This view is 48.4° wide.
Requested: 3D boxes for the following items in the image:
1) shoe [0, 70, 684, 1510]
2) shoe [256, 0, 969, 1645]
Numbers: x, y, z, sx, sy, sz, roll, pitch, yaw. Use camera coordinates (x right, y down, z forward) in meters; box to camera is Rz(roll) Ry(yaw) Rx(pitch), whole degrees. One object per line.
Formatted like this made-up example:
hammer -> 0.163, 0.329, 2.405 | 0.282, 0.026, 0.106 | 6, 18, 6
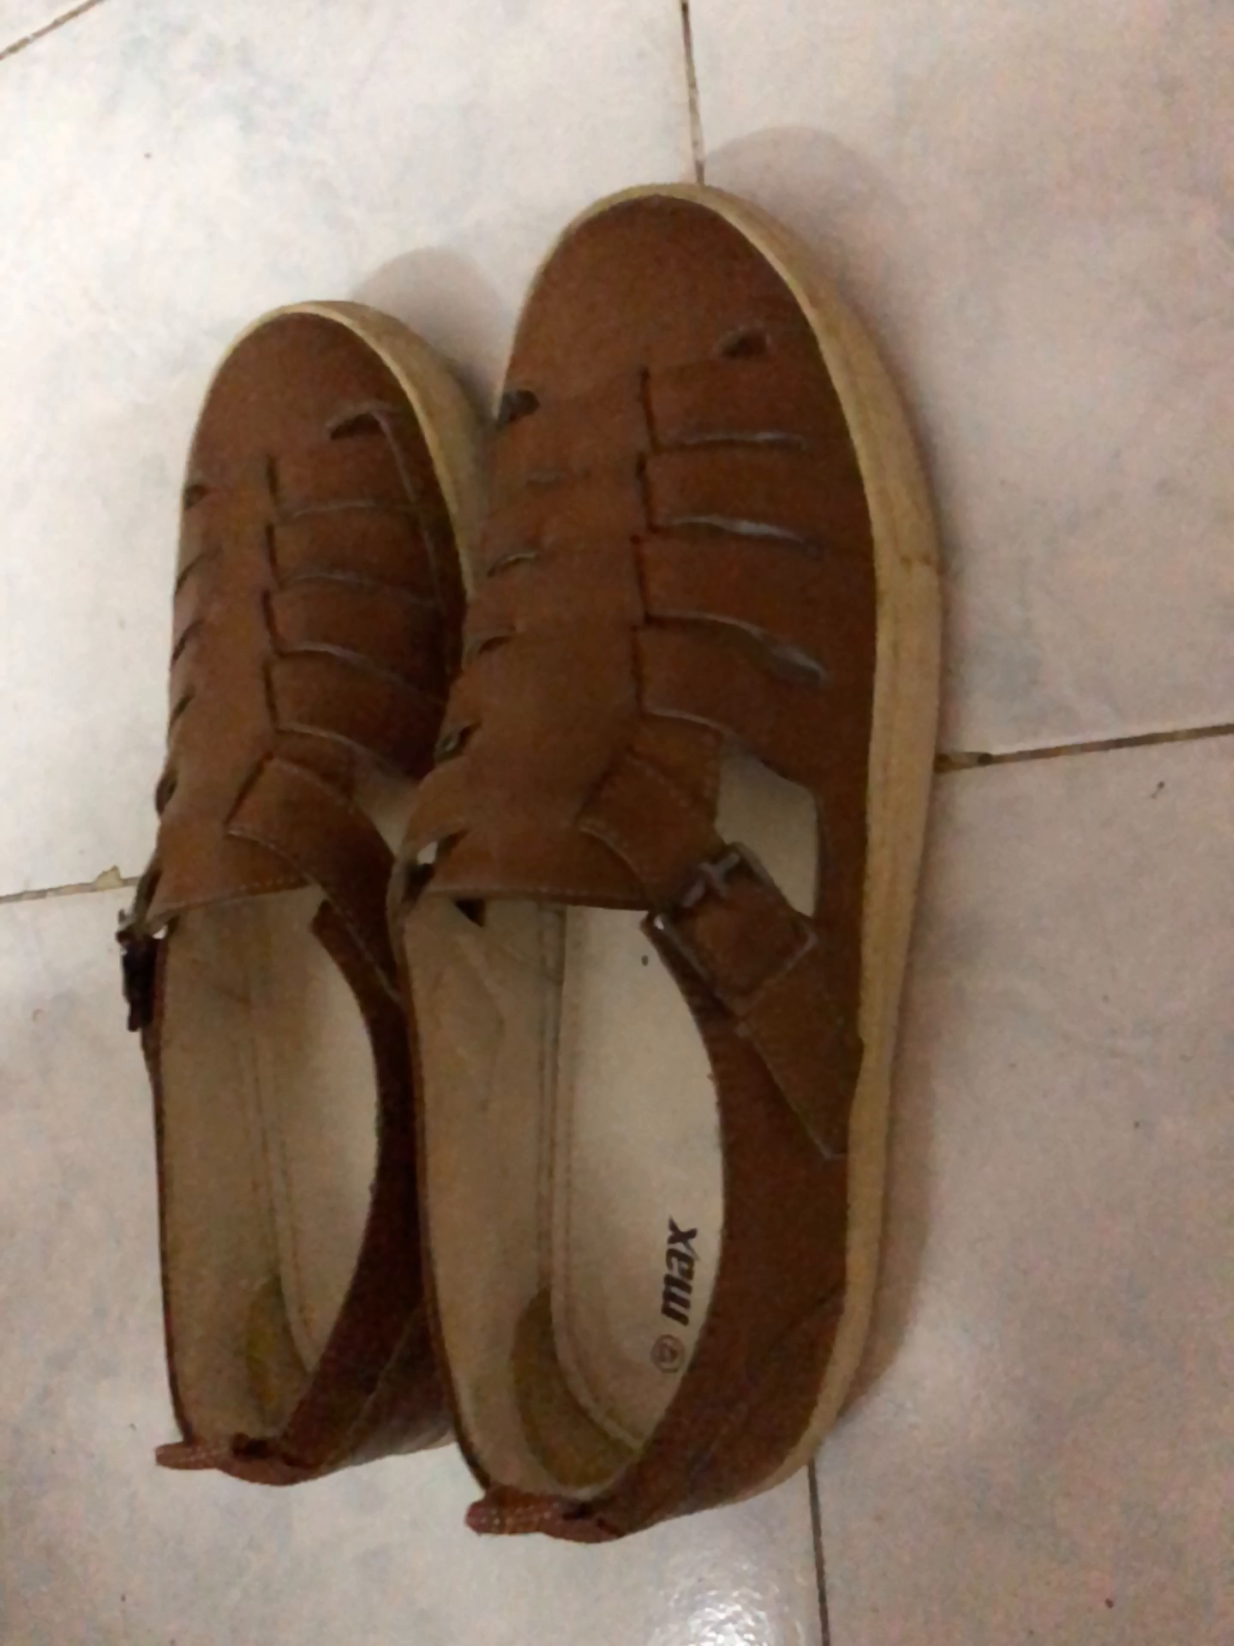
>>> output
shoe -> -0.074, -0.005, 0.348 | 0.110, 0.100, 0.300 | -12, 80, 28
shoe -> 0.000, -0.011, 0.302 | 0.110, 0.100, 0.300 | -6, 83, 29
